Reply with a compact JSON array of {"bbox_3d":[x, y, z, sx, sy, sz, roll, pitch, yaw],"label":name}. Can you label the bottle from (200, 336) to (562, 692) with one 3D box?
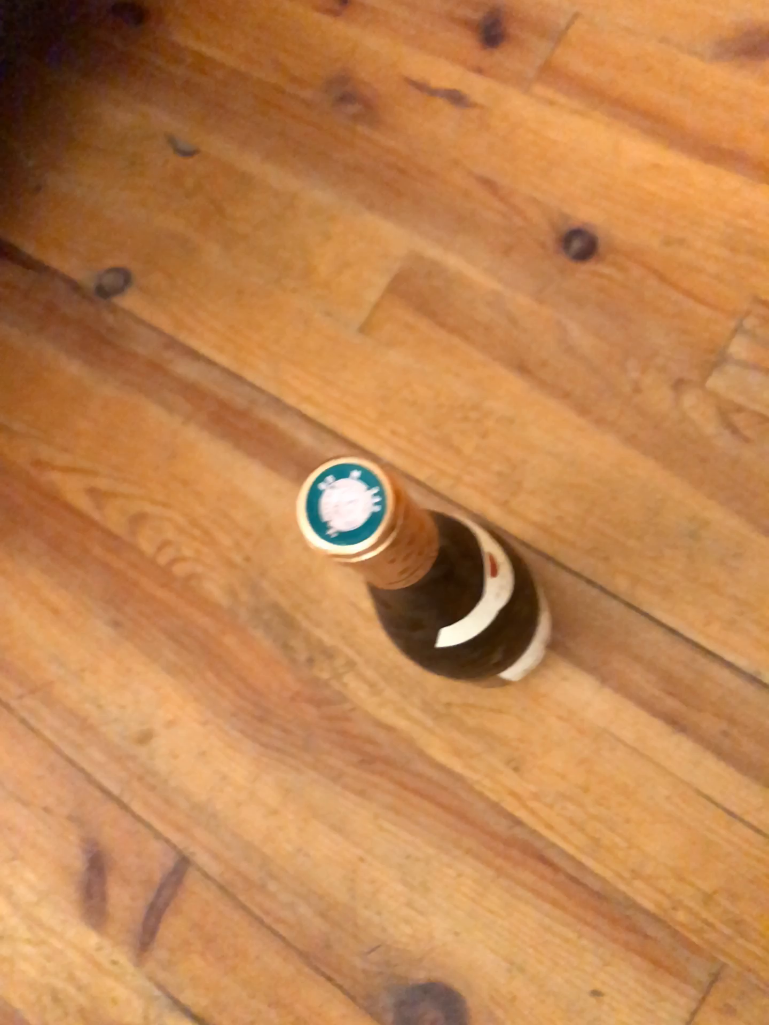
[{"bbox_3d":[0.028,0.032,0.373,0.080,0.320,0.080,-3,76,13],"label":"bottle"}]
